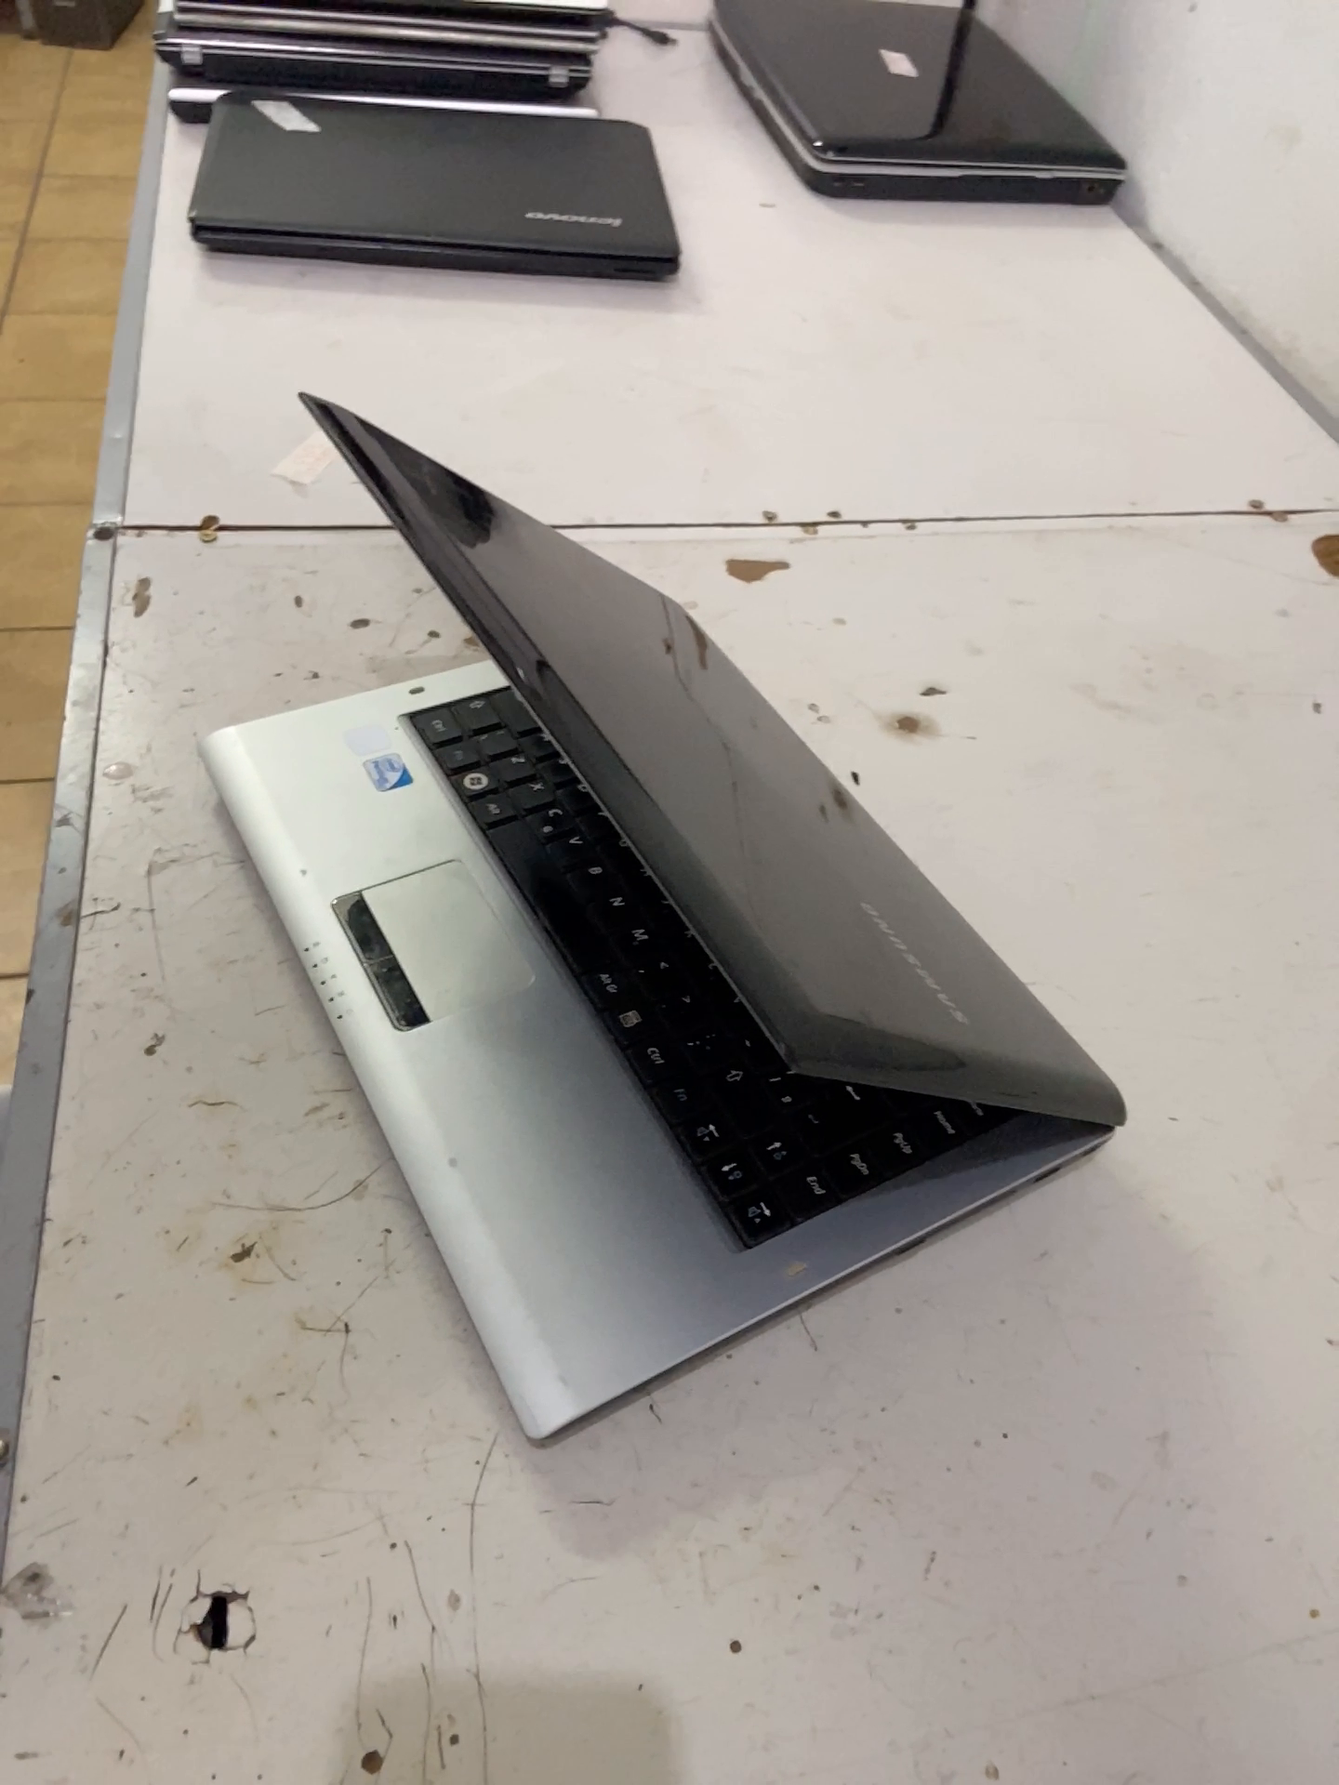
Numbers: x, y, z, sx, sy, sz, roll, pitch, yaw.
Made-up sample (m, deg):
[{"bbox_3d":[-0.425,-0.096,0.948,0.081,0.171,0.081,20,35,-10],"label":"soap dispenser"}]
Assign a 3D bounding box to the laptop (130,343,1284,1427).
[{"bbox_3d":[-0.014,-0.037,0.502,0.241,0.152,0.334,-19,53,-24],"label":"laptop"}]
